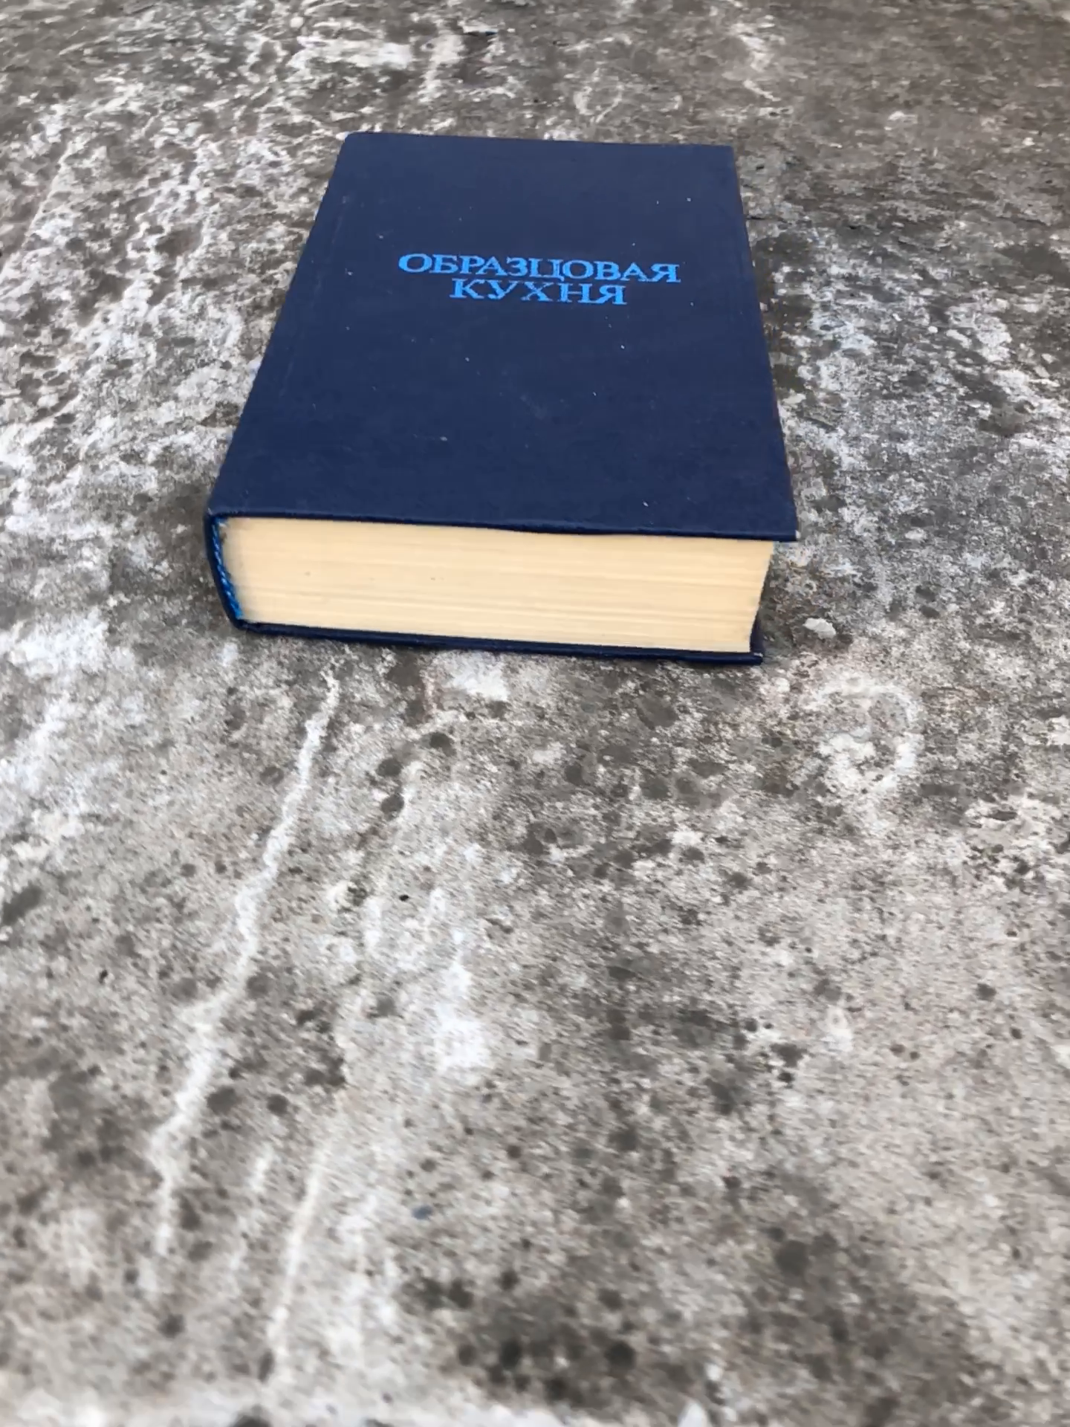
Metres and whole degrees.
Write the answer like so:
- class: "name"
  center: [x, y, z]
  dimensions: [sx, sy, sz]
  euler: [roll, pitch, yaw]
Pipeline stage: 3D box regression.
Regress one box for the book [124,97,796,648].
- class: "book"
  center: [-0.012, -0.109, 0.334]
  dimensions: [0.140, 0.040, 0.211]
  euler: [3, 47, 0]
